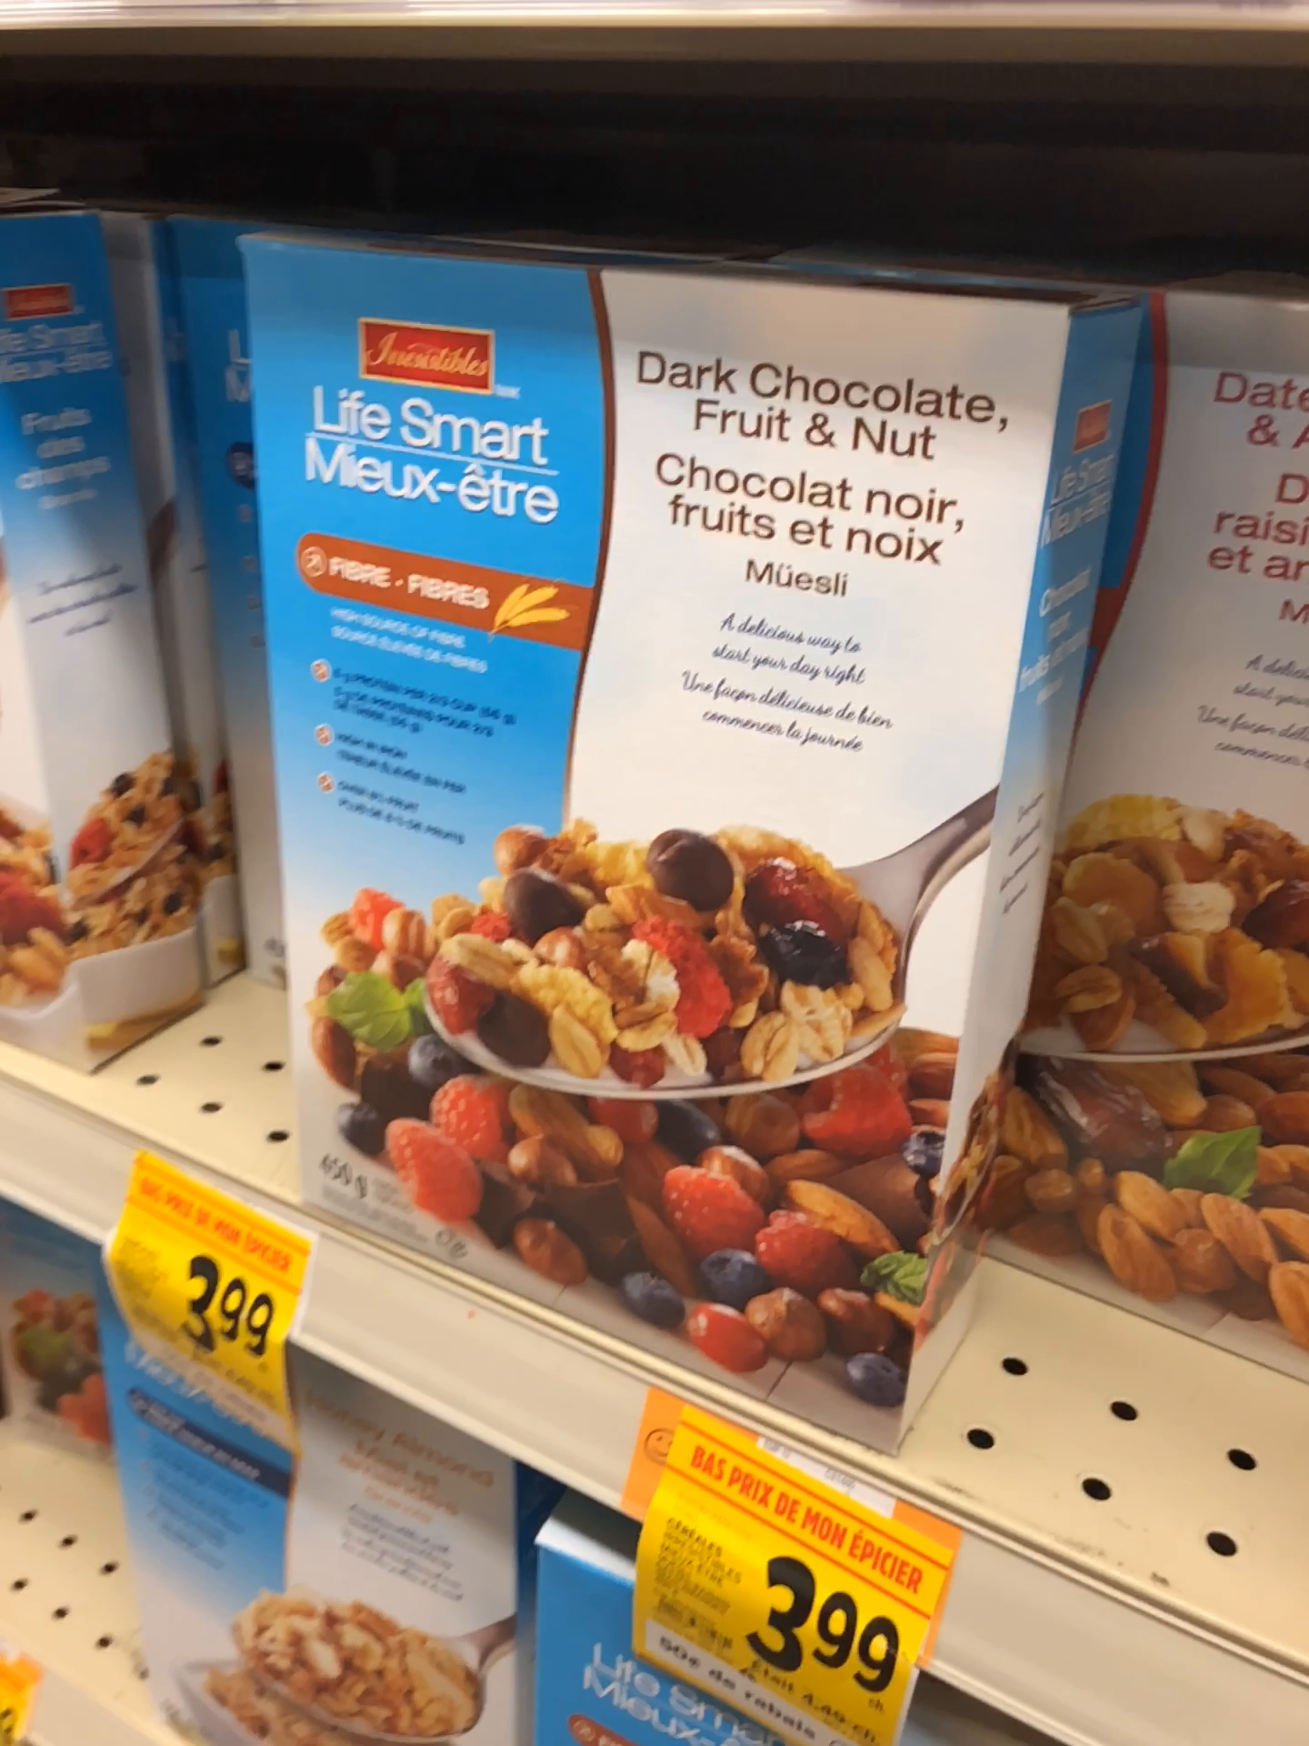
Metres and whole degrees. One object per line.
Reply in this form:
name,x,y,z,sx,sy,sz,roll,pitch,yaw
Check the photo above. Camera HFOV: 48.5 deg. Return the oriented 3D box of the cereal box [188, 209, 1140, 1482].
cereal box,-0.008,-0.008,0.315,0.170,0.238,0.050,15,28,25
